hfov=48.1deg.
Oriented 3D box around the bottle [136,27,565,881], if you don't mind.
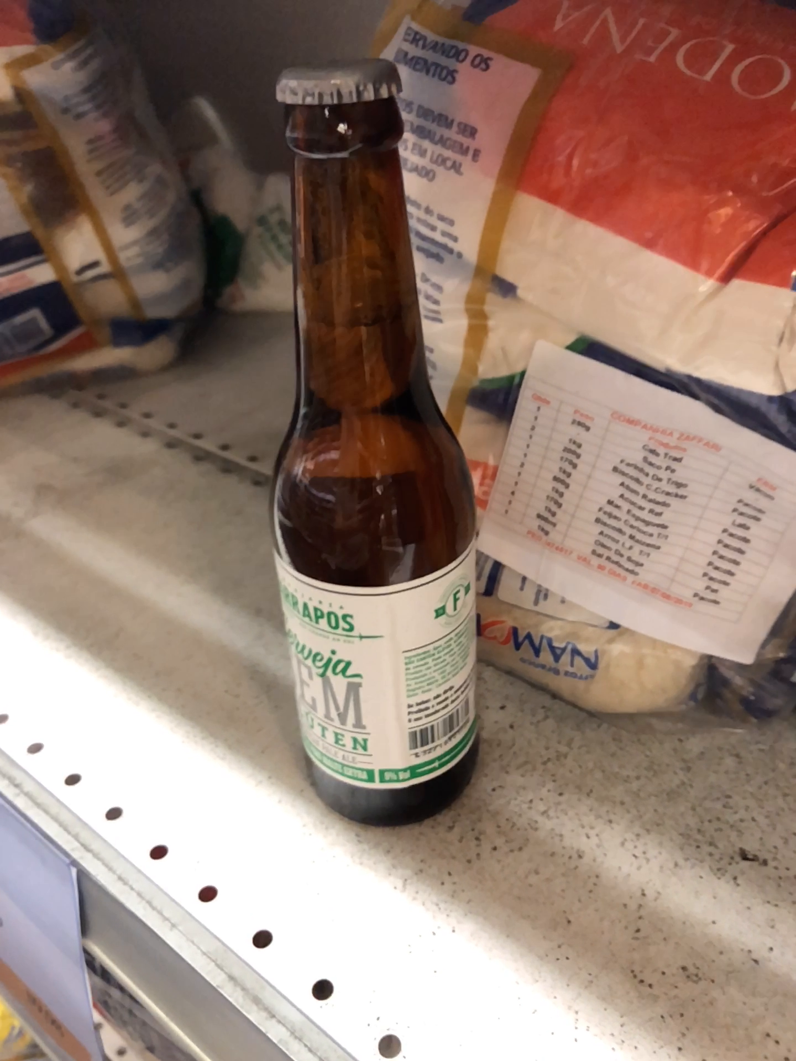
[{"bbox_3d":[-0.004,-0.010,0.255,0.070,0.228,0.060,24,43,35],"label":"bottle"}]
